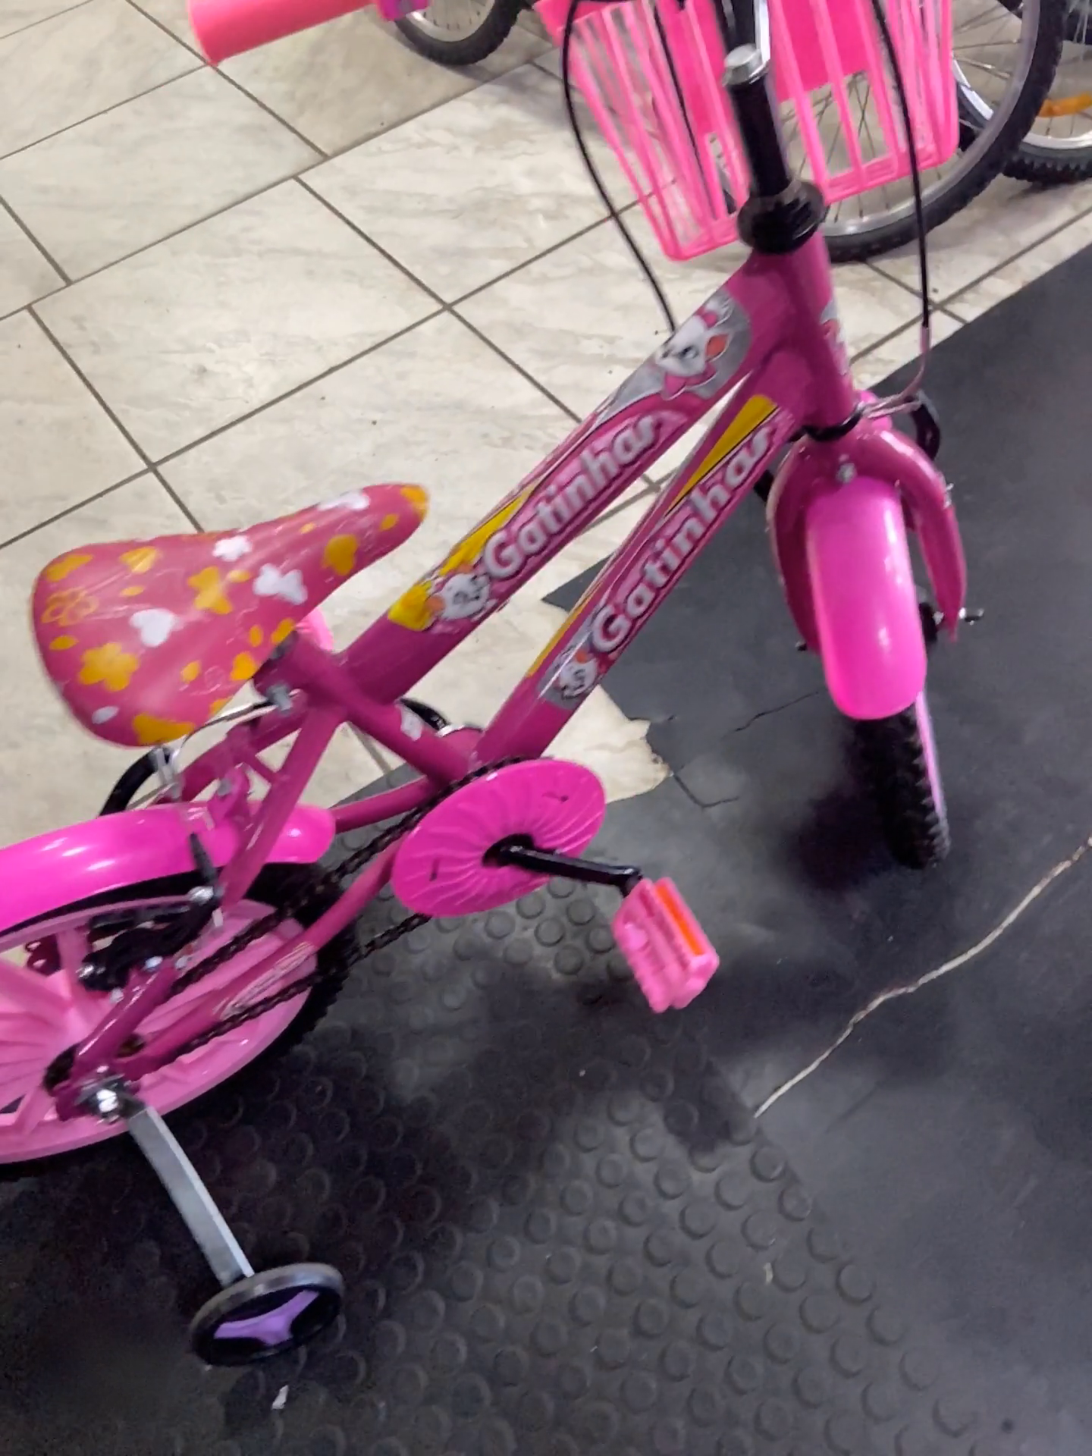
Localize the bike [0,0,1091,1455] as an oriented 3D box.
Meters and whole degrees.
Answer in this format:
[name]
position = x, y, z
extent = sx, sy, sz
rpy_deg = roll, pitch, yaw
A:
[bike]
position = -0.116, -0.070, 0.697
extent = 0.940, 0.789, 0.467
rpy_deg = -32, 57, -14
